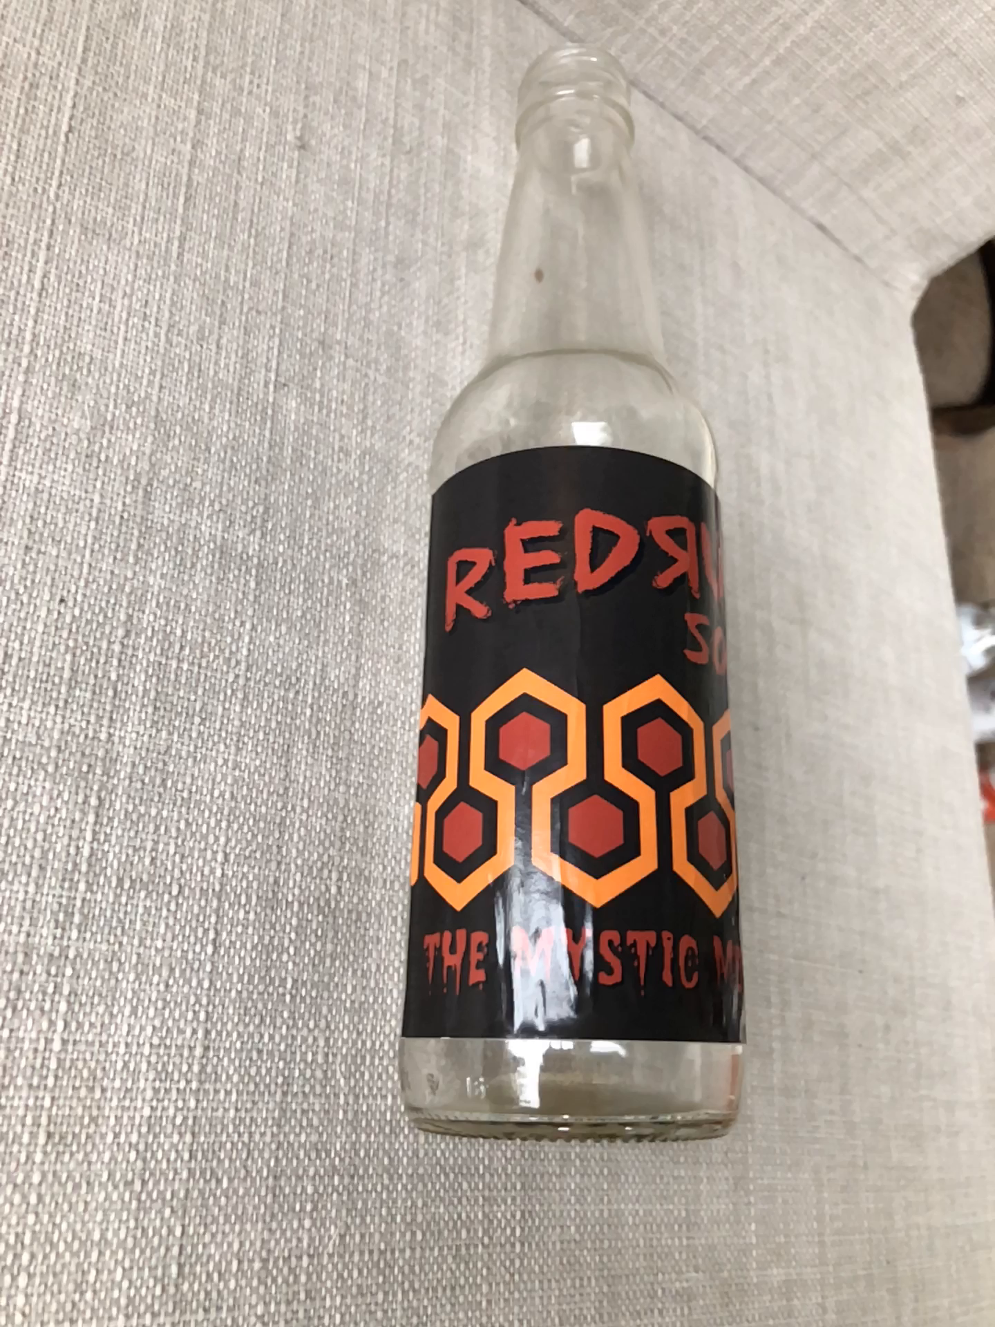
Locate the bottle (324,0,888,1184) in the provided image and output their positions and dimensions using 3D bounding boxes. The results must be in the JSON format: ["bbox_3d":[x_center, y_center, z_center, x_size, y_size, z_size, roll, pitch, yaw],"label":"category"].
[{"bbox_3d":[0.020,-0.030,0.220,0.063,0.069,0.231,15,68,-34],"label":"bottle"}]
